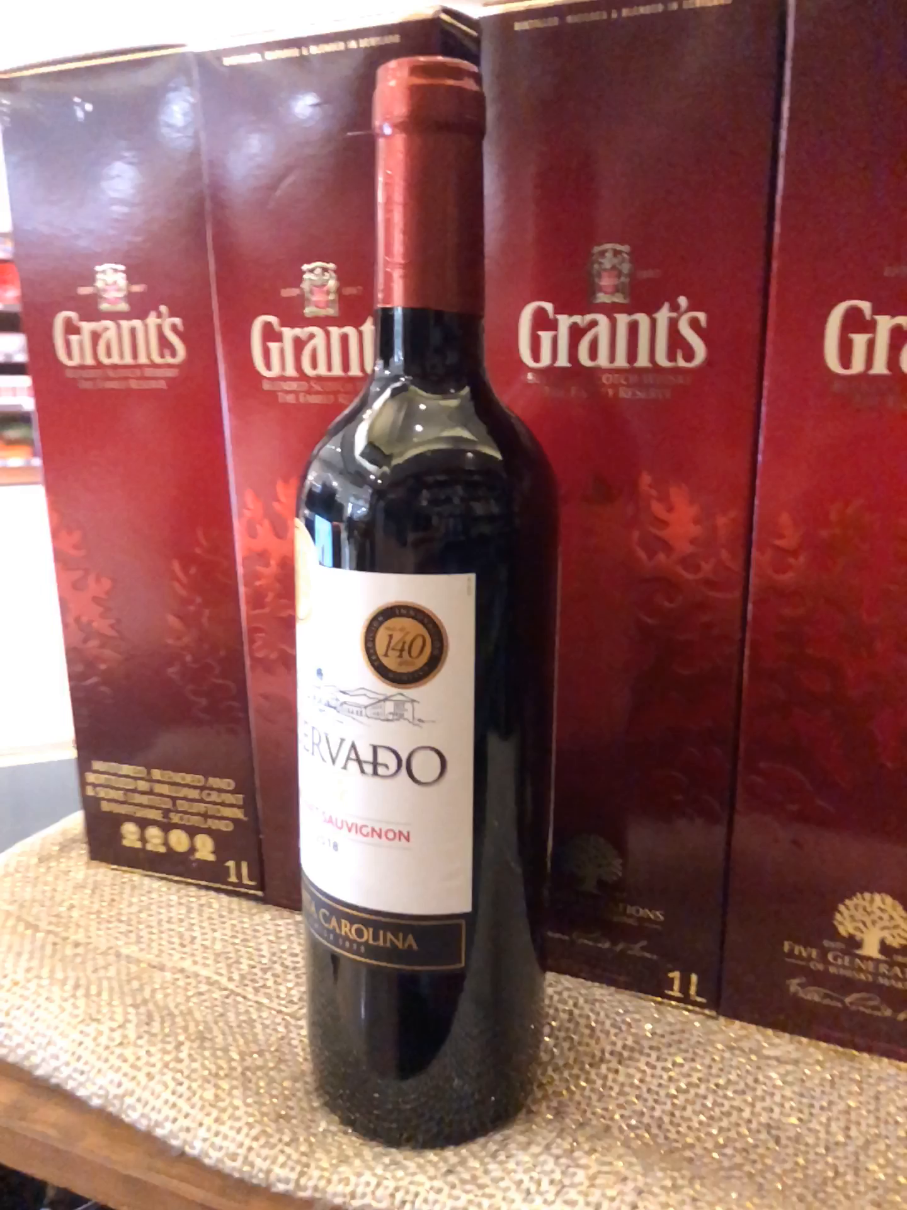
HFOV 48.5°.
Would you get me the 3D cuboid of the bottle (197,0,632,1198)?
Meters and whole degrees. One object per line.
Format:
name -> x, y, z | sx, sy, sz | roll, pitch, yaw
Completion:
bottle -> -0.011, 0.003, 0.282 | 0.080, 0.289, 0.070 | 12, 18, 38
